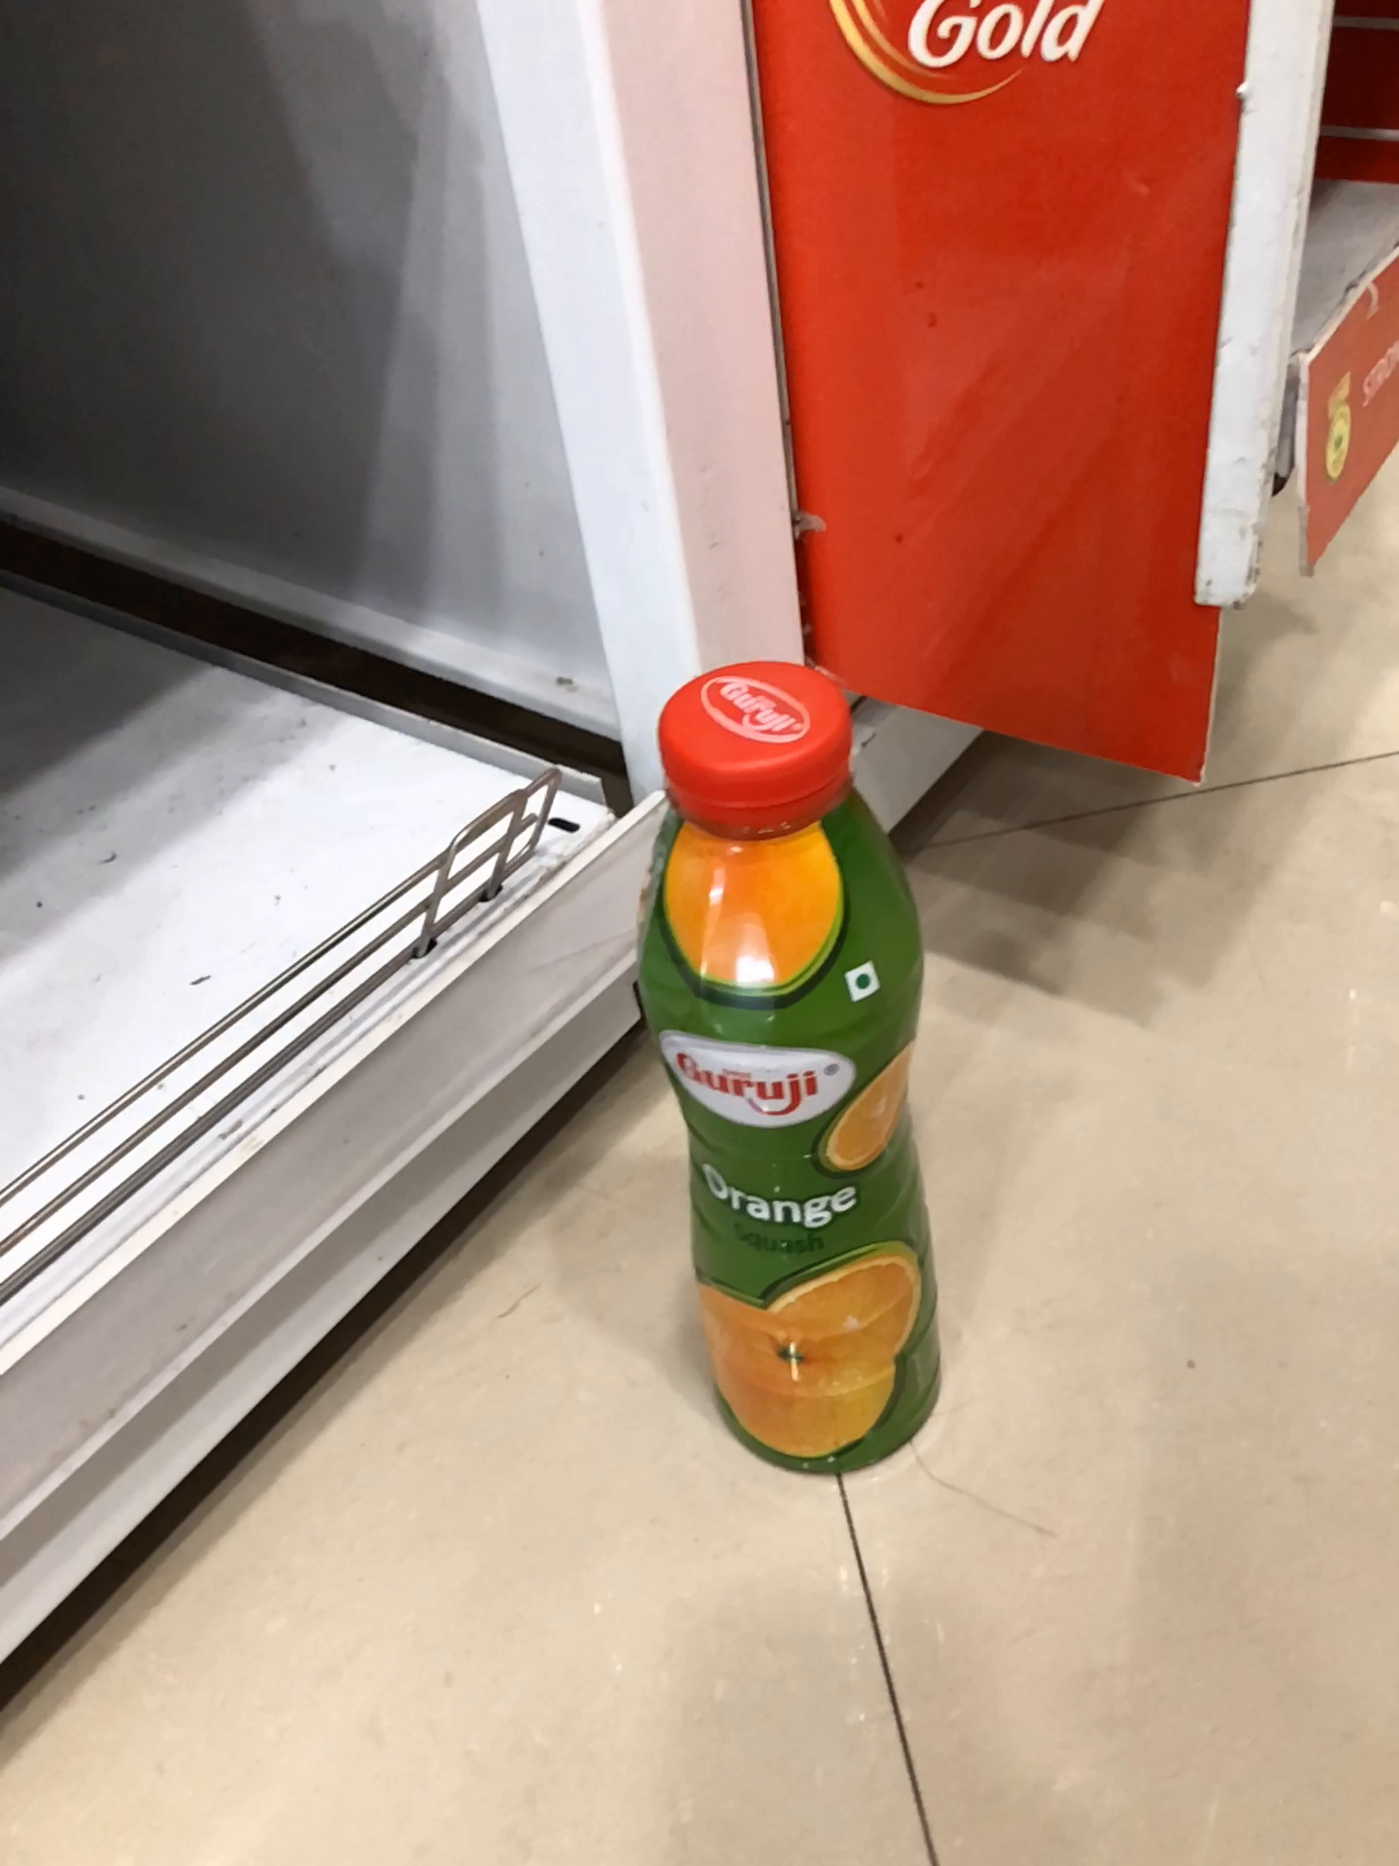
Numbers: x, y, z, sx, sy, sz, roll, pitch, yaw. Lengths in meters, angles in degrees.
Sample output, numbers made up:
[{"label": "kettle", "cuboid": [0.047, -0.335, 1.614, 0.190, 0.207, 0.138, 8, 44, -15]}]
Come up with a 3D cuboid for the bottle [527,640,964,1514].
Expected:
[{"label": "bottle", "cuboid": [0.025, 0.049, 0.388, 0.070, 0.239, 0.070, -6, 41, 5]}]
